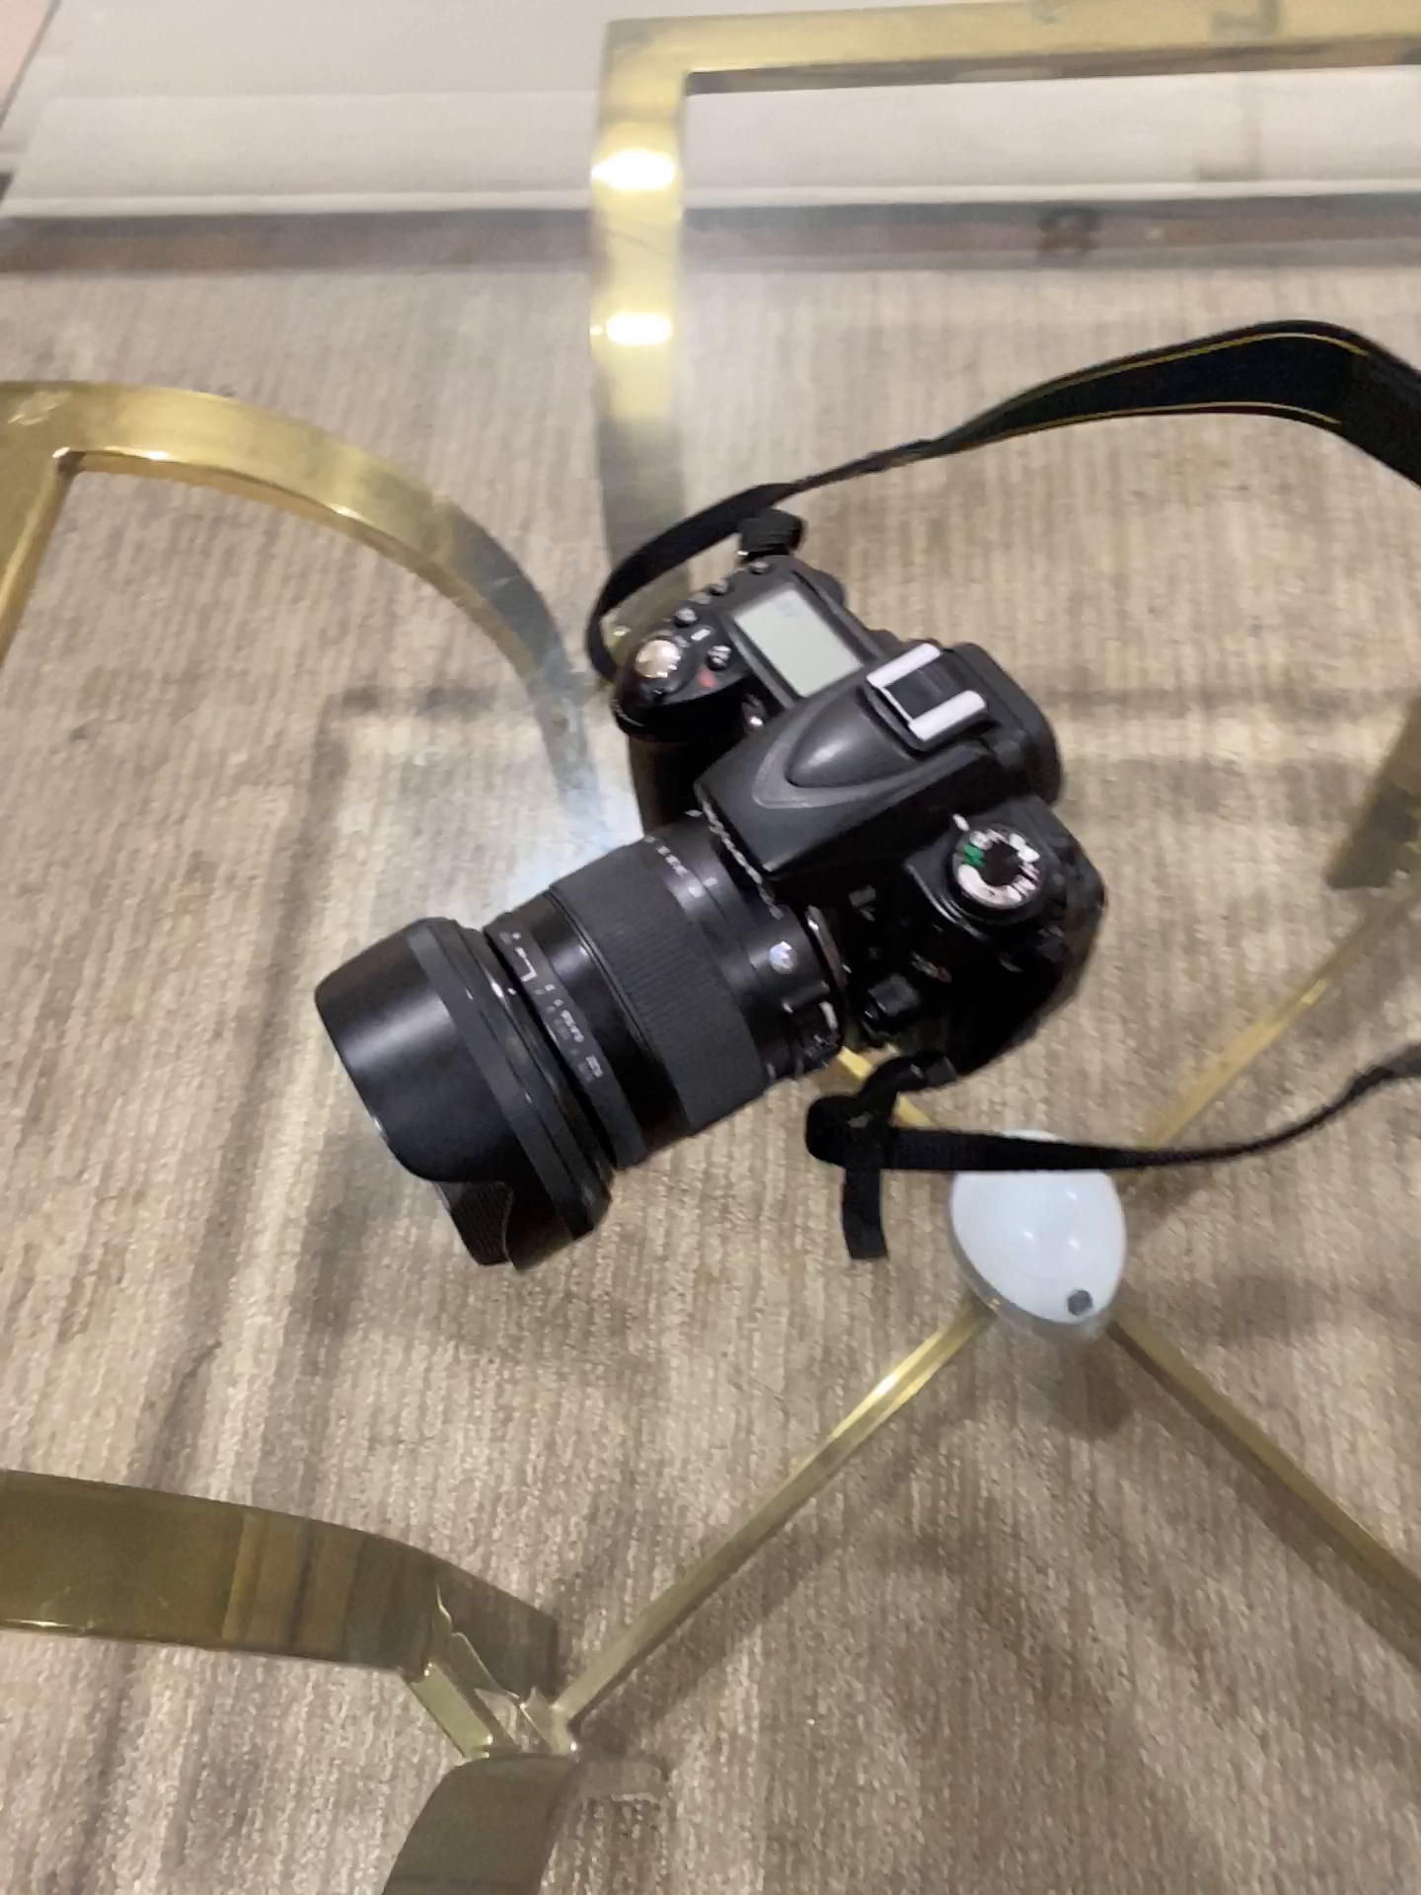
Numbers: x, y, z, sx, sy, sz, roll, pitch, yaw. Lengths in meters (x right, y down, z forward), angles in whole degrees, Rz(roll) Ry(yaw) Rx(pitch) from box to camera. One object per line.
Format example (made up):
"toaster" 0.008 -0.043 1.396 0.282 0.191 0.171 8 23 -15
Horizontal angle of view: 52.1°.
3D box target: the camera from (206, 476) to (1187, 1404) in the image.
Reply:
"camera" -0.002 -0.001 0.380 0.180 0.120 0.130 -31 63 -12
